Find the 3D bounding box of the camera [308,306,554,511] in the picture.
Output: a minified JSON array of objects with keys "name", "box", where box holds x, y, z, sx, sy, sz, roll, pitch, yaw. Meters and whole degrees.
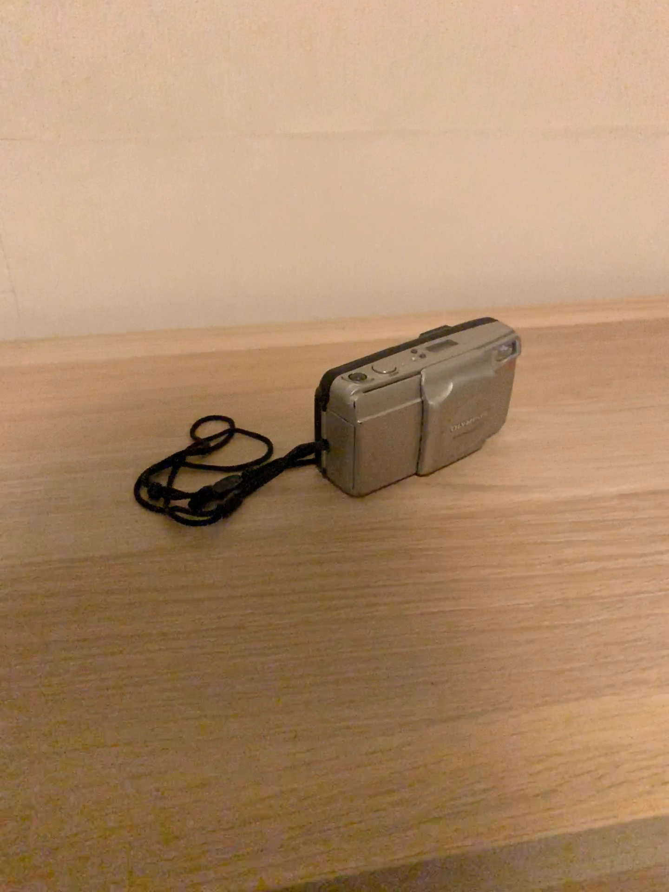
[{"name":"camera","box":[0.051,-0.024,0.363,0.126,0.059,0.046,-22,39,-30]}]
